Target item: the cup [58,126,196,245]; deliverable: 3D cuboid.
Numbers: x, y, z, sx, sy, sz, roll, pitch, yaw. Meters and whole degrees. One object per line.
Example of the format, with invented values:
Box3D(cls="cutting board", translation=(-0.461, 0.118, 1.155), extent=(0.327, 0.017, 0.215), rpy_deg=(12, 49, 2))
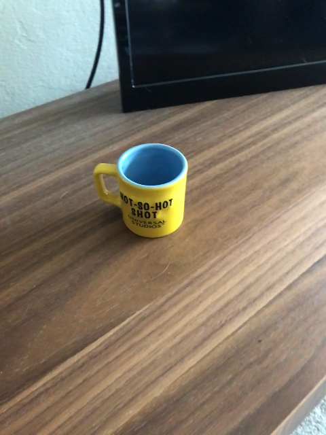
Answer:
Box3D(cls="cup", translation=(-0.023, -0.026, 0.286), extent=(0.090, 0.060, 0.060), rpy_deg=(7, 48, 6))
